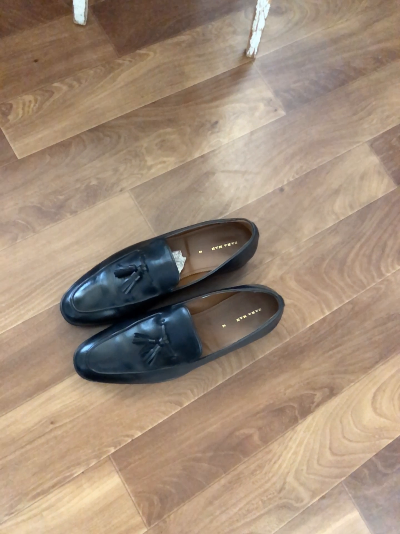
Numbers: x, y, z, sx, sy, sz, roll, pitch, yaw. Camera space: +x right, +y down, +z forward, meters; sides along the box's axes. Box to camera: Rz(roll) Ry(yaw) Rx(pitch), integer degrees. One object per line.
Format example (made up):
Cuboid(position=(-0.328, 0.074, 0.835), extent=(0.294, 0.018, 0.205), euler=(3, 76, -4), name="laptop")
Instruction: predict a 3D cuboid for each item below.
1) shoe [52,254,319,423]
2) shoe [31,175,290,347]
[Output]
Cuboid(position=(-0.020, 0.091, 0.580), extent=(0.300, 0.120, 0.110), euler=(-17, 79, -12), name="shoe")
Cuboid(position=(-0.050, -0.006, 0.600), extent=(0.300, 0.120, 0.110), euler=(-21, 80, -13), name="shoe")
